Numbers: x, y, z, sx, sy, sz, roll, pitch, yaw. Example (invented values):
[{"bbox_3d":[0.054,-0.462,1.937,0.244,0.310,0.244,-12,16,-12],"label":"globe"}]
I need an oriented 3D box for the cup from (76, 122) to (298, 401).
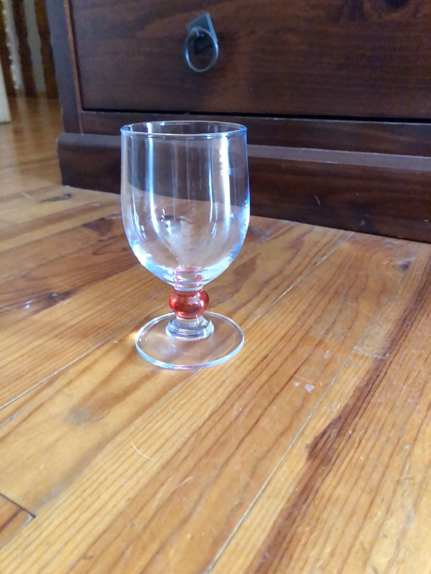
[{"bbox_3d":[-0.014,-0.024,0.285,0.088,0.132,0.083,-2,23,1],"label":"cup"}]
